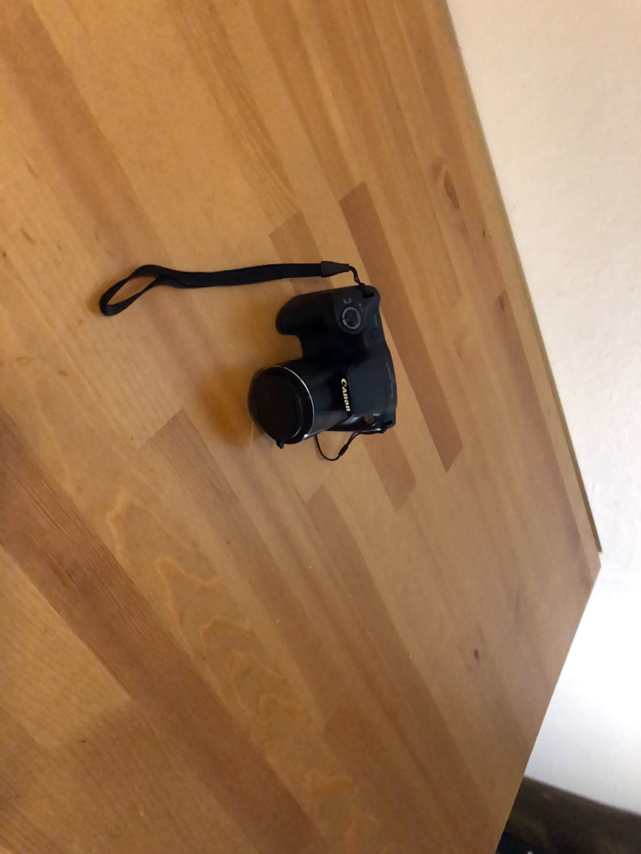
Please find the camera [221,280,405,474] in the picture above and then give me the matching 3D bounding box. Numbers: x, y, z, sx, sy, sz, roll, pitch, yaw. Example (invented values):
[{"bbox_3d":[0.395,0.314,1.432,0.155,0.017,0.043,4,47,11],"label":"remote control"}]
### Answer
[{"bbox_3d":[-0.002,-0.037,0.494,0.097,0.062,0.109,-26,110,-46],"label":"camera"}]
